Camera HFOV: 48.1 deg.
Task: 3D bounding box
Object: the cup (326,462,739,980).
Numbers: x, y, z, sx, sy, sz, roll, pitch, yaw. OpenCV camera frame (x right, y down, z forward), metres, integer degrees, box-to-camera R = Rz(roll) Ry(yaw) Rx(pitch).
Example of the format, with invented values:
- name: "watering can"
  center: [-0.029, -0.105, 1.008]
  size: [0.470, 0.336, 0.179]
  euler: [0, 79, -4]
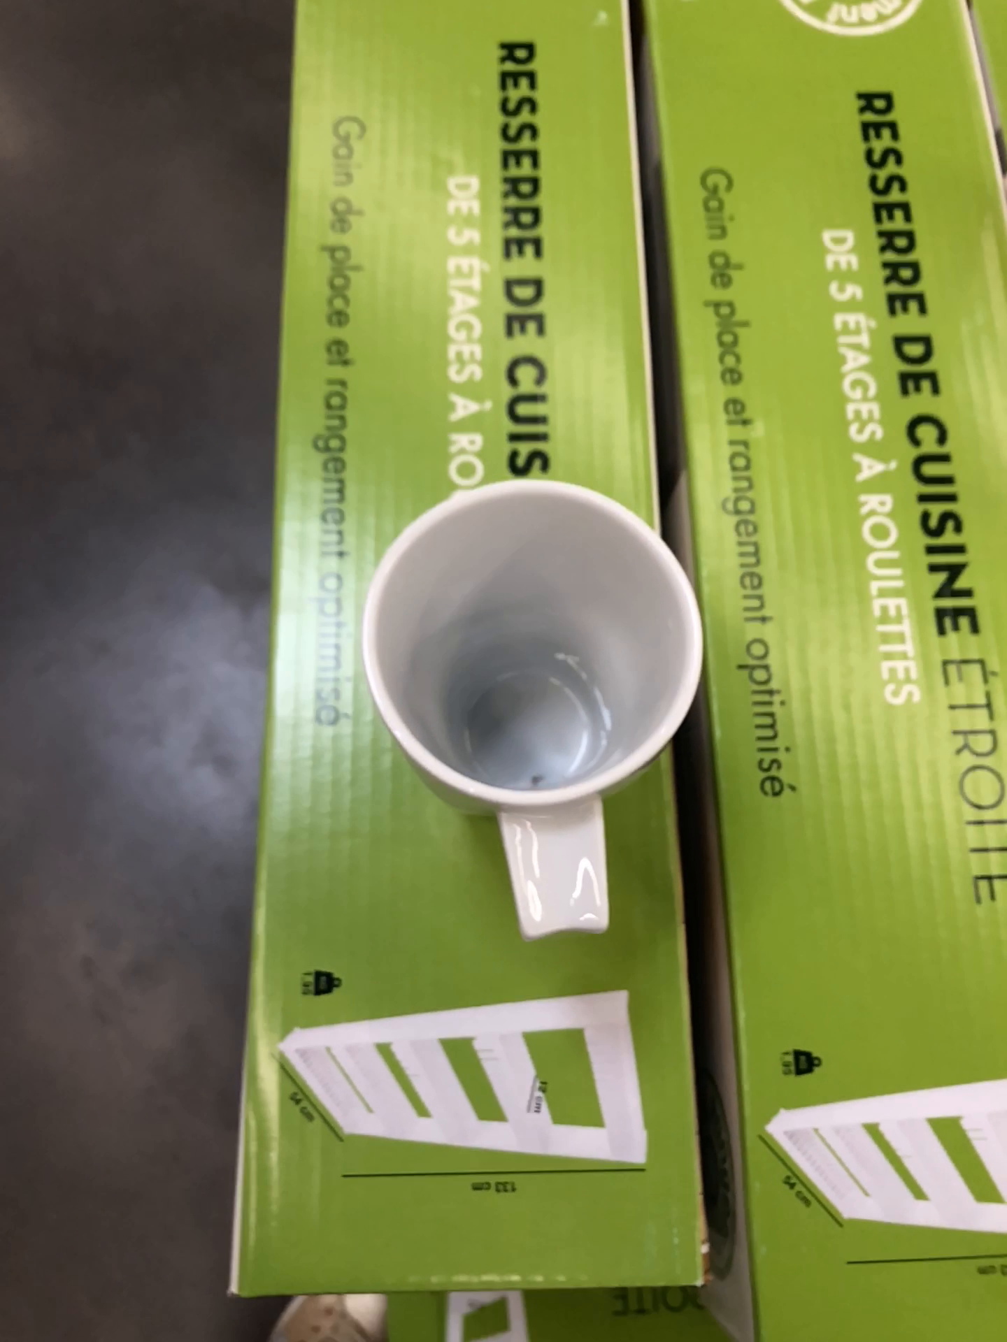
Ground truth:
- name: "cup"
  center: [0.003, 0.019, 0.295]
  size: [0.083, 0.088, 0.111]
  euler: [-4, 73, -3]
